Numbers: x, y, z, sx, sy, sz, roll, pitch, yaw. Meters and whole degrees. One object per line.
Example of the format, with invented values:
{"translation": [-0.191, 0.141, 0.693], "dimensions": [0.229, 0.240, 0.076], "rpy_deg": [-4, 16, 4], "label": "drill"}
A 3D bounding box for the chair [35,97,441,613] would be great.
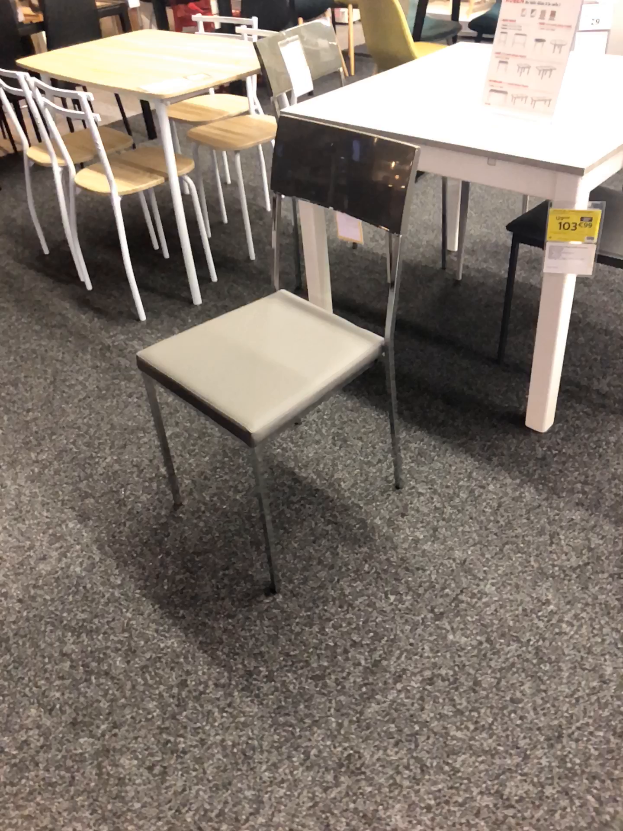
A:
{"translation": [-0.098, -0.142, 1.491], "dimensions": [0.553, 0.855, 0.491], "rpy_deg": [-33, 46, -30], "label": "chair"}
